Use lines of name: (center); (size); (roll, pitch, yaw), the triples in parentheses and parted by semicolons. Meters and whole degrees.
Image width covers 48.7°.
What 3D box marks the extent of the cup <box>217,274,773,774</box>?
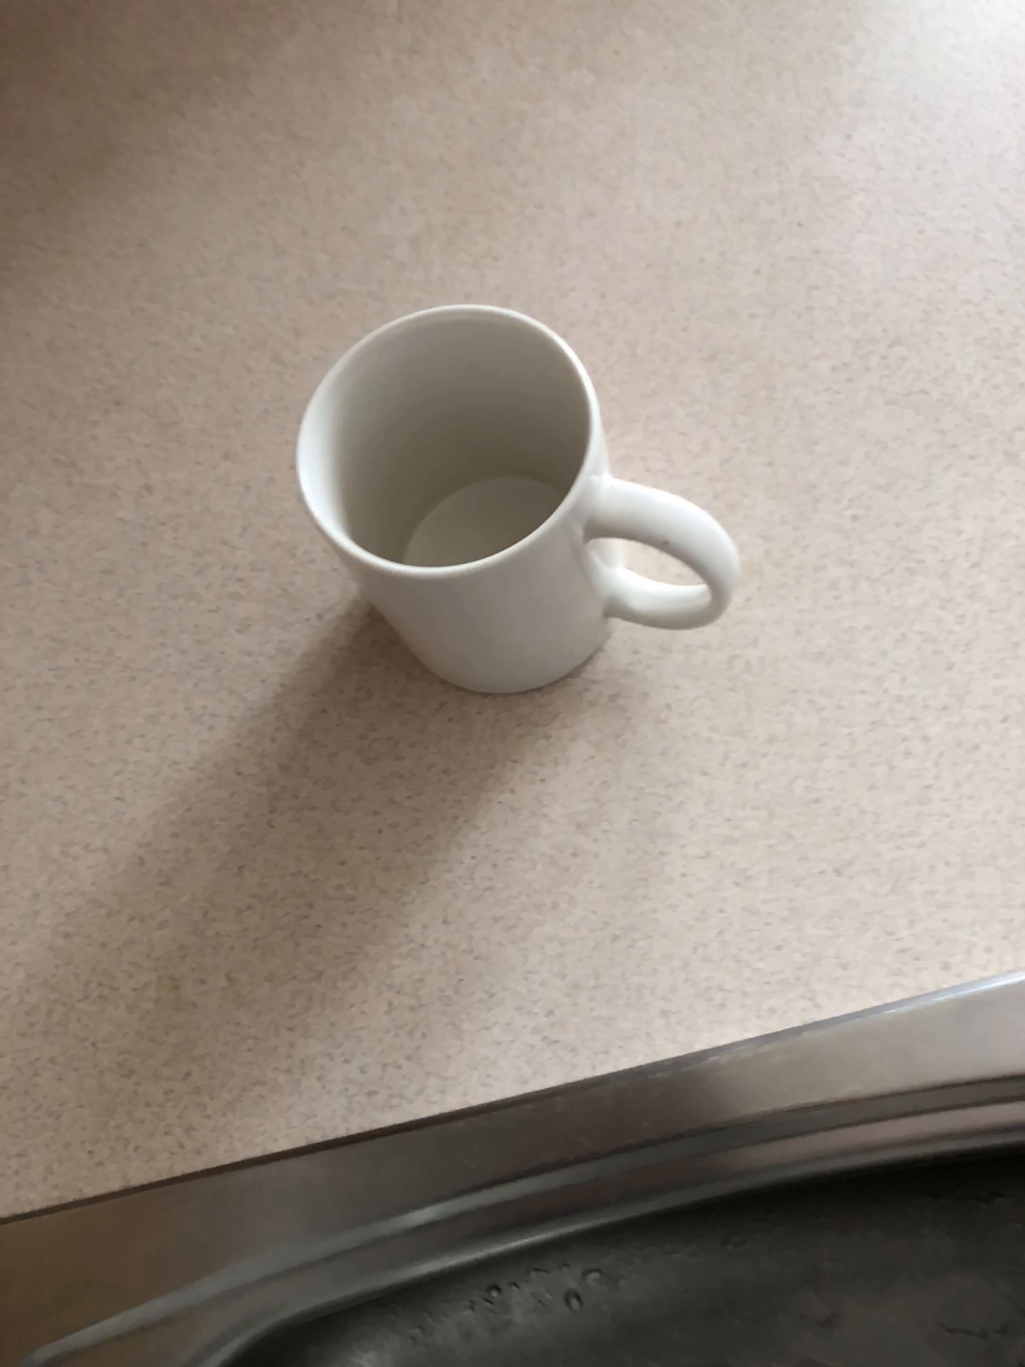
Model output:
cup: (0.003, -0.042, 0.329); (0.120, 0.099, 0.084); (16, 75, 15)
